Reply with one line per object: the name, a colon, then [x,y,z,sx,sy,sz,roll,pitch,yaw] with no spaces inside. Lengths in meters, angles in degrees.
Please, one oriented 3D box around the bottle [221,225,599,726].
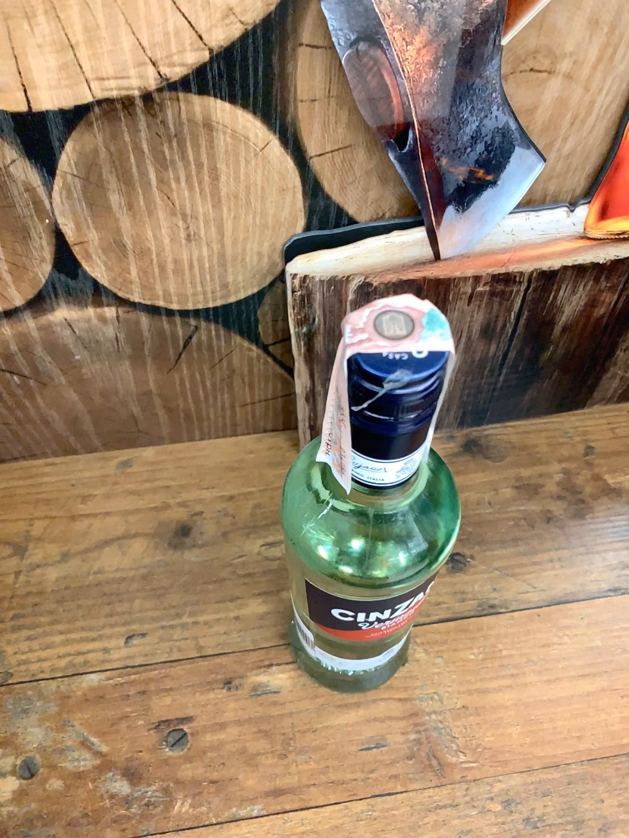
bottle: [0.019,0.048,0.257,0.070,0.231,0.070,1,54,-1]
